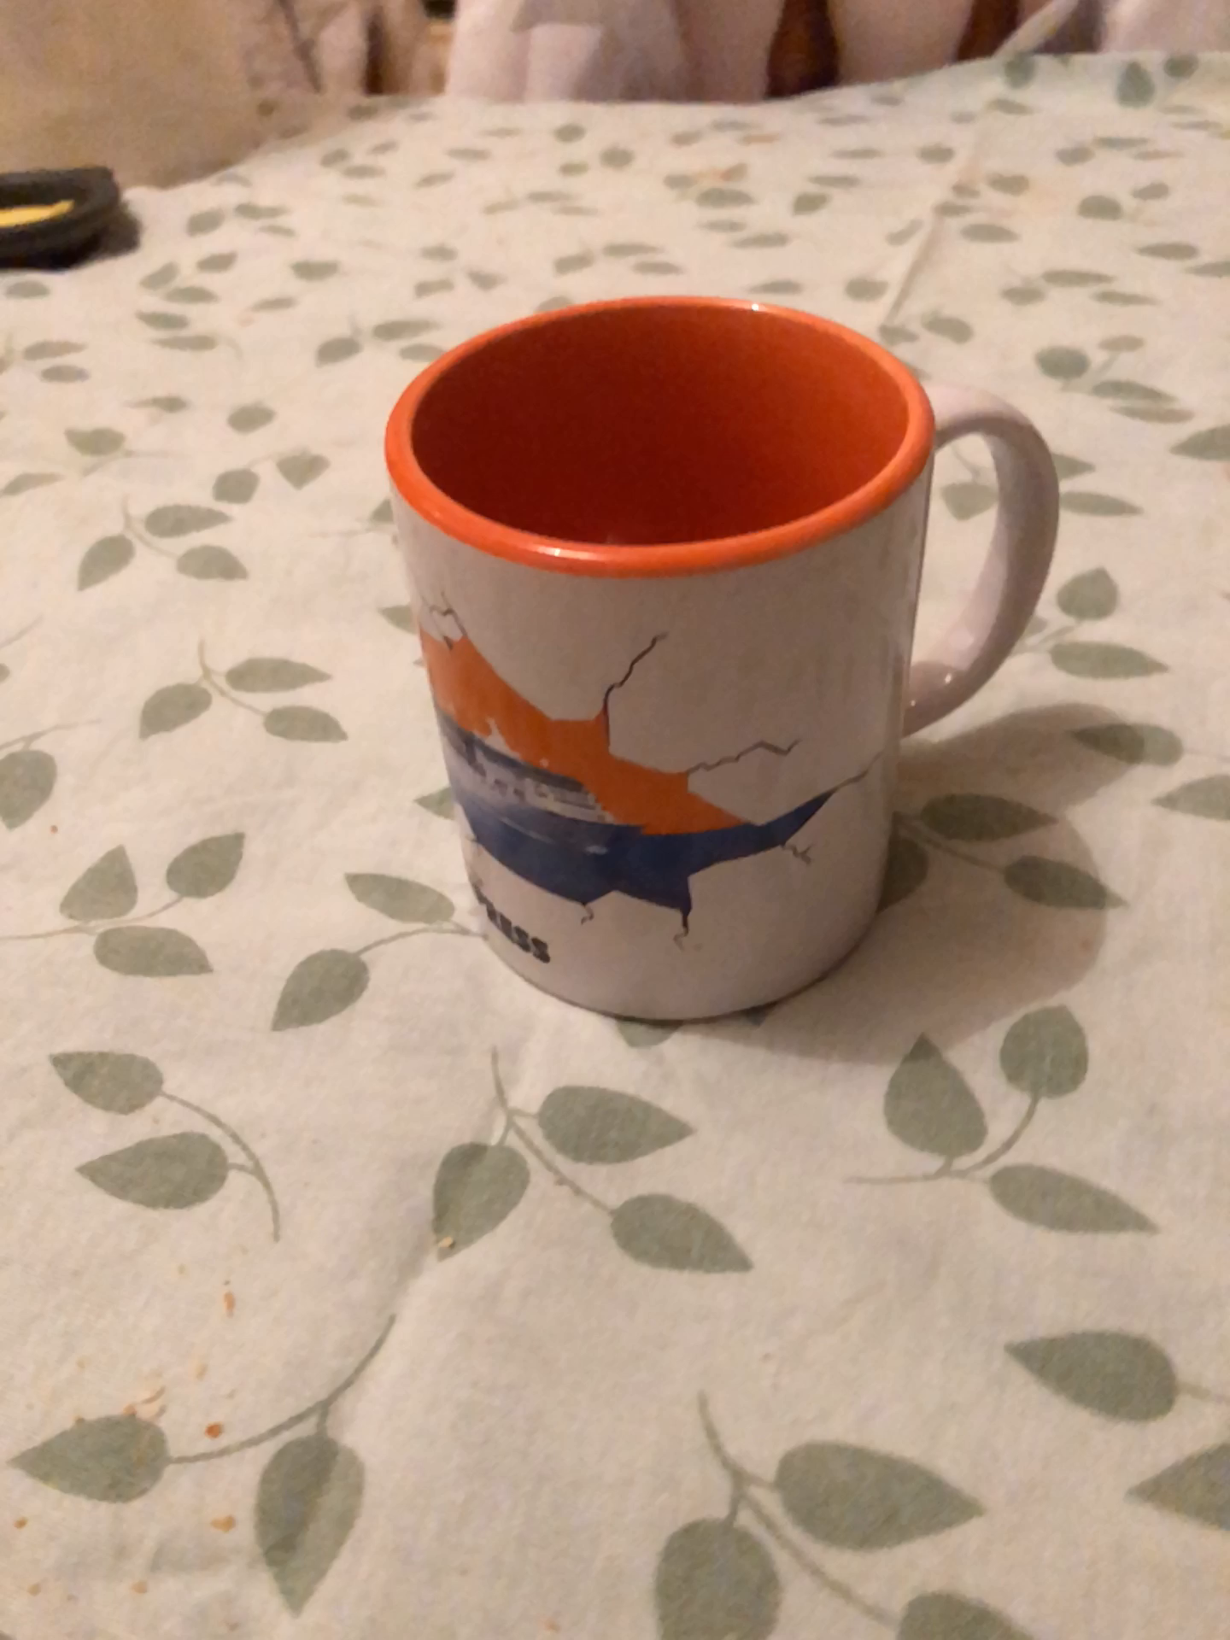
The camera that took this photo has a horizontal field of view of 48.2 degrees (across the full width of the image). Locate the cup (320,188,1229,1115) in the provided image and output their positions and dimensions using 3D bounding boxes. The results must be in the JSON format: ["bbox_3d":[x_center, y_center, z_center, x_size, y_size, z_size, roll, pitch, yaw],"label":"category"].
[{"bbox_3d":[0.029,-0.032,0.233,0.120,0.099,0.080,-19,44,-16],"label":"cup"}]
